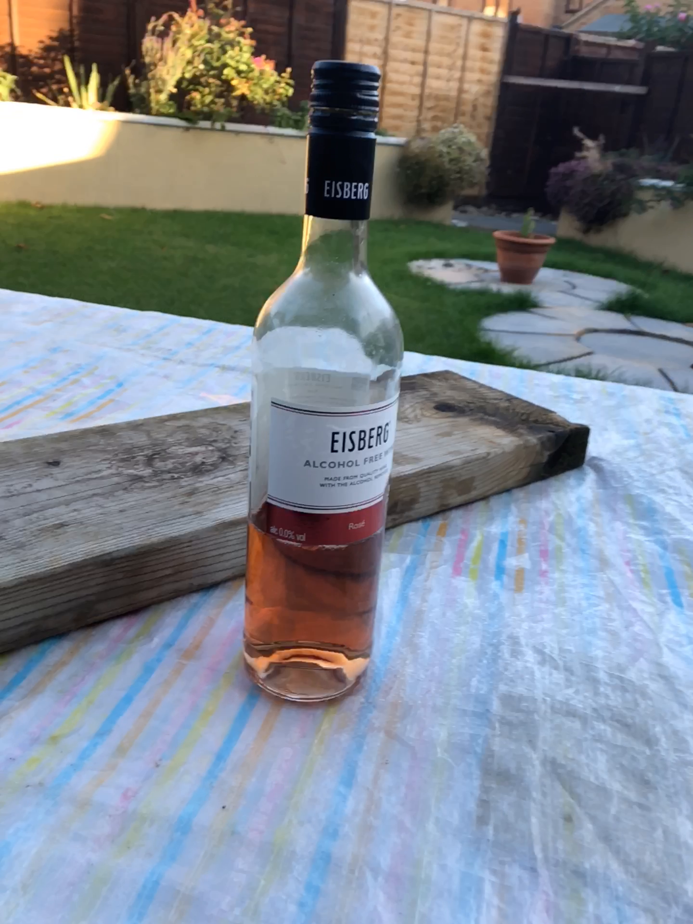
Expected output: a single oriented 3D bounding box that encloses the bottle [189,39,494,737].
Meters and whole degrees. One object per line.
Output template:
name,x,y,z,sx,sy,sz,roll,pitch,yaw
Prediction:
bottle,-0.012,-0.027,0.356,0.090,0.288,0.080,-14,29,-36
